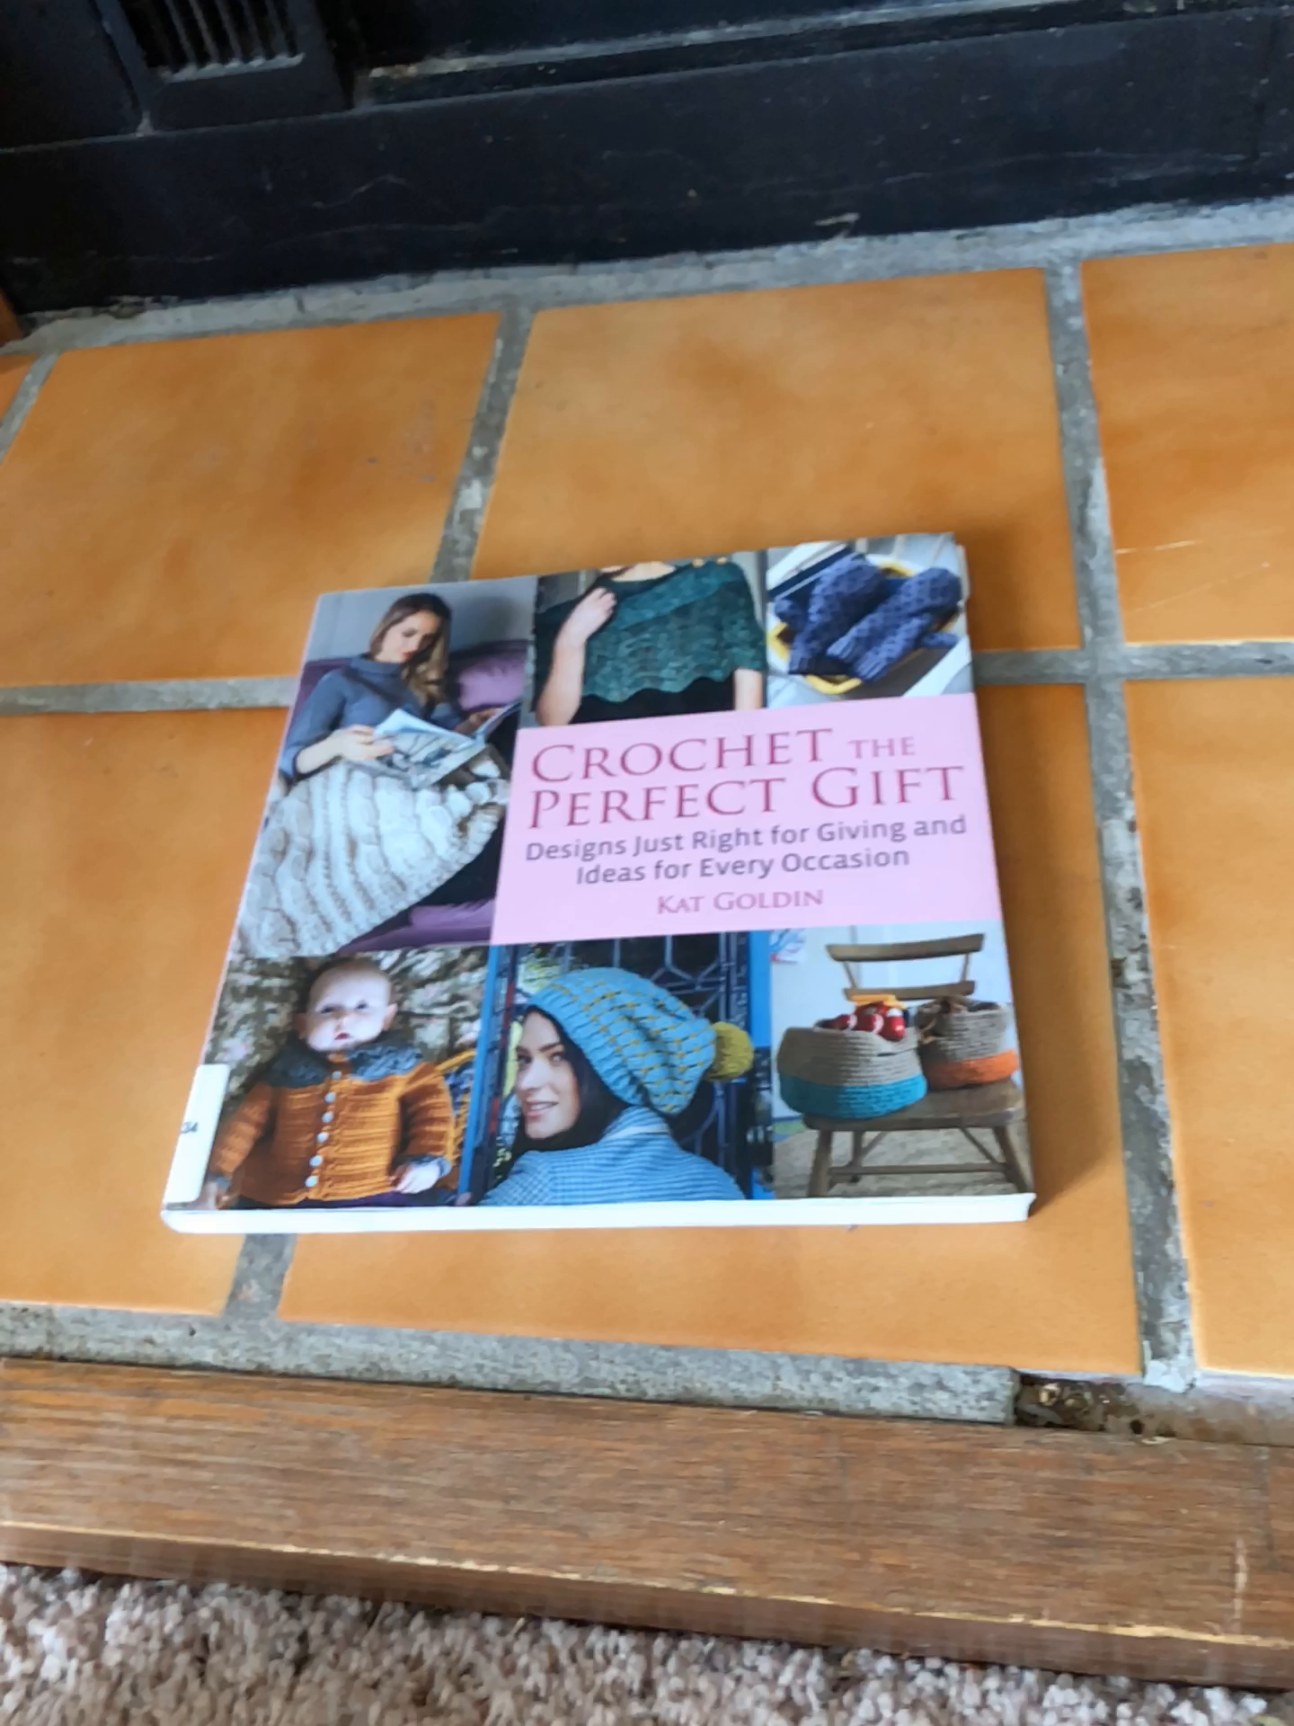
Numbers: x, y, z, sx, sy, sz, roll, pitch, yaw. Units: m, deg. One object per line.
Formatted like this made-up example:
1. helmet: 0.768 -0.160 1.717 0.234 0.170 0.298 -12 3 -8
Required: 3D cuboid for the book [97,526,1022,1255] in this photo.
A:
1. book: -0.019 -0.003 0.403 0.217 0.020 0.221 -3 54 9
